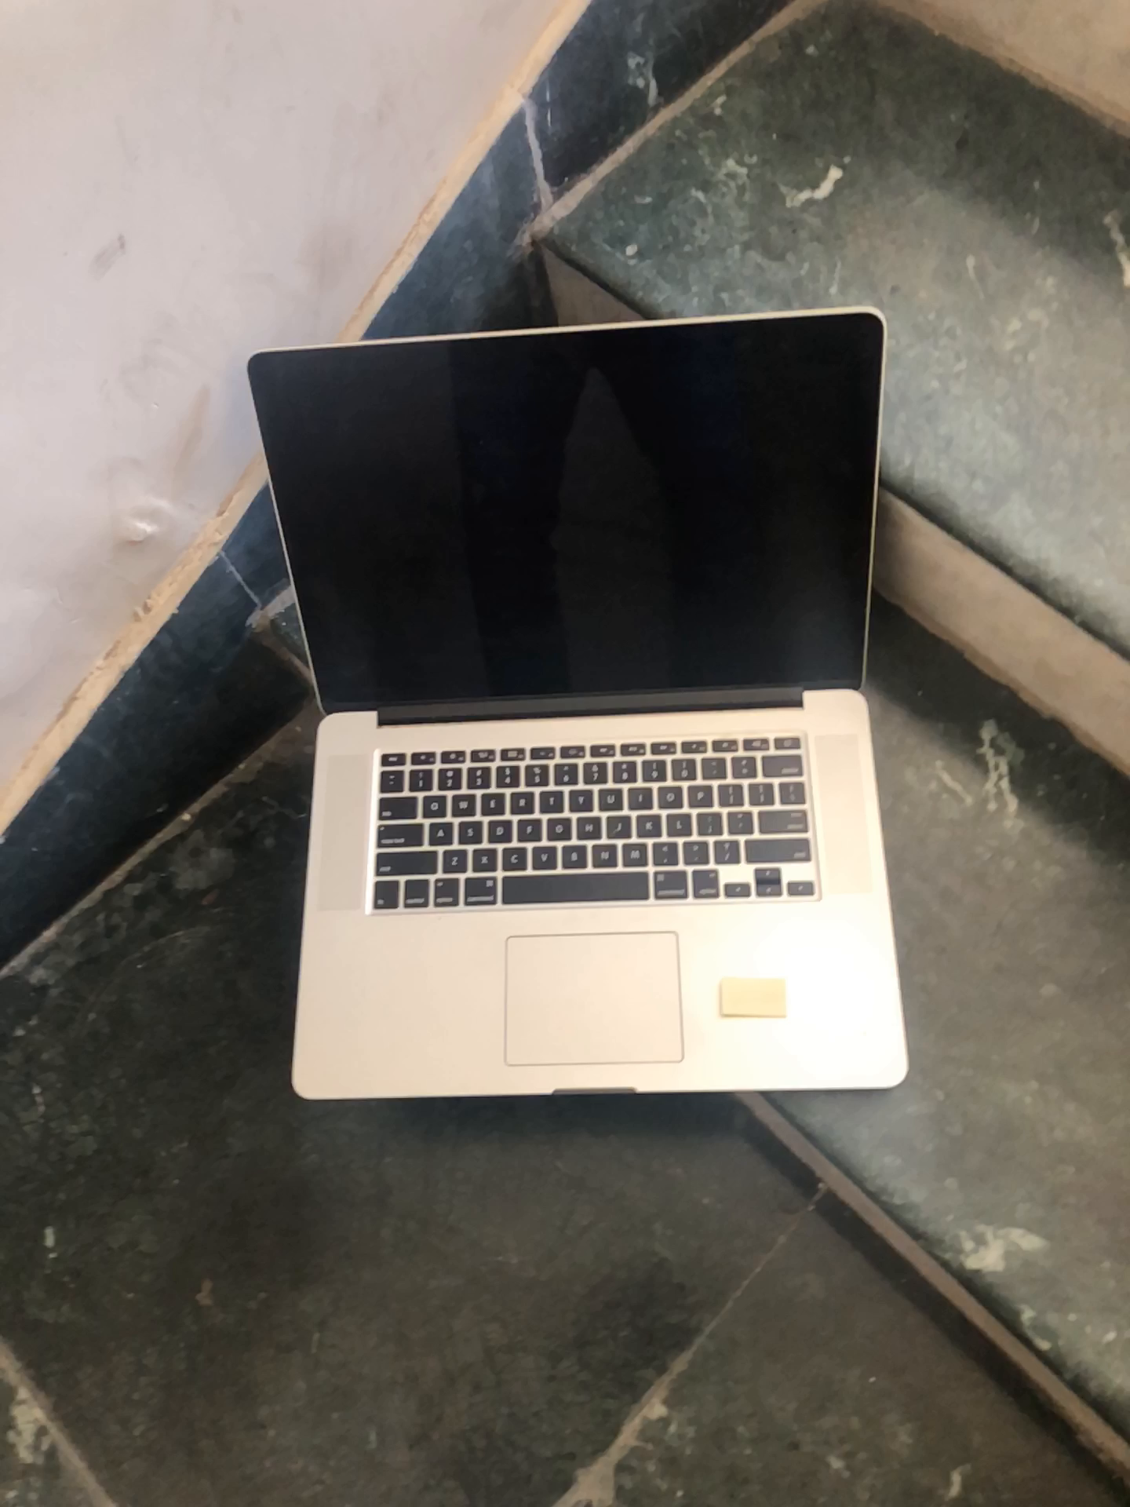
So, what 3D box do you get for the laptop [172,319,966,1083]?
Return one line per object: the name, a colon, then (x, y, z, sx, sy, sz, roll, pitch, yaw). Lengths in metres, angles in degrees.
laptop: (0.003, -0.019, 0.691, 0.341, 0.194, 0.364, -3, 67, 5)
